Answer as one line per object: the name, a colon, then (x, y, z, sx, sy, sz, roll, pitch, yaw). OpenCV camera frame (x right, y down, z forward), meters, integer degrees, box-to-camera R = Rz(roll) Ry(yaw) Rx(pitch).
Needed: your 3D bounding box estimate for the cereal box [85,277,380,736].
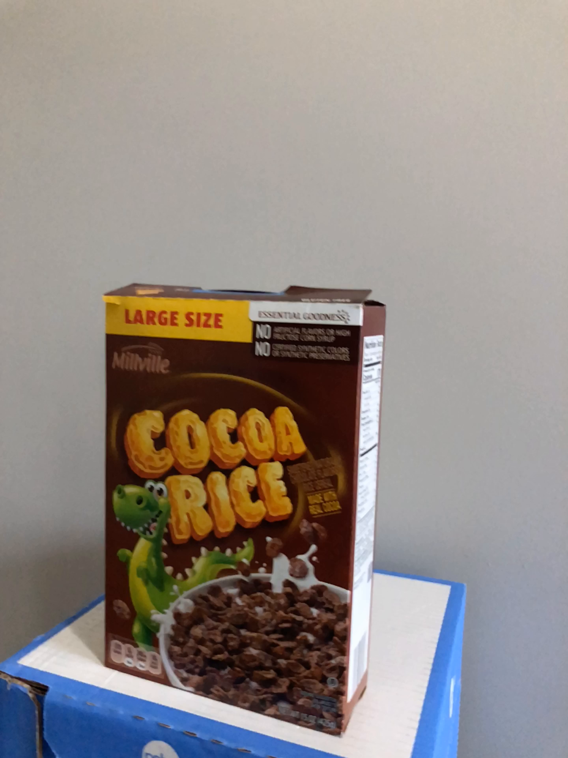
cereal box: (-0.043, 0.075, 0.457, 0.200, 0.290, 0.060, 4, 7, 22)
